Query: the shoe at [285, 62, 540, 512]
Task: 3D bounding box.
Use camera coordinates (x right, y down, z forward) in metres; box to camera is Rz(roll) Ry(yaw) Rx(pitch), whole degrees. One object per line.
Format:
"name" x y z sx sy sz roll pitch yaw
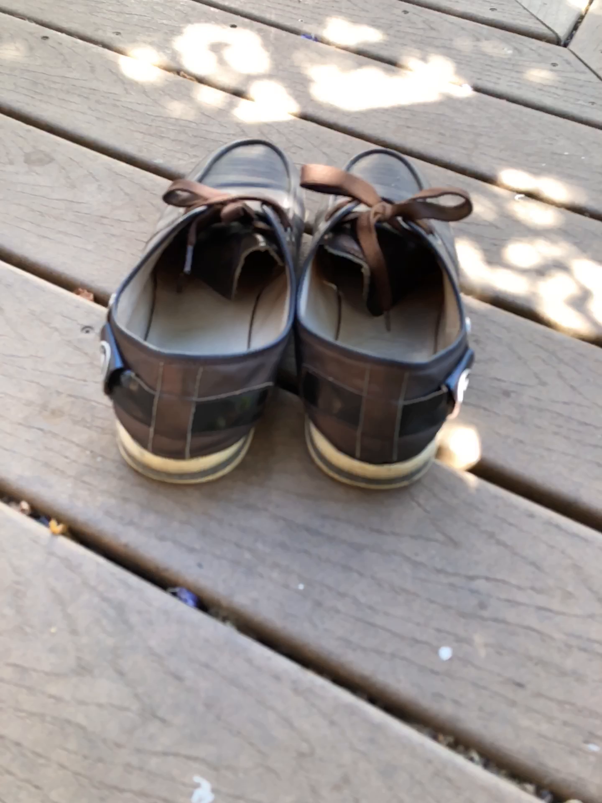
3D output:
"shoe" 0.060 -0.089 0.421 0.107 0.105 0.290 7 53 -1

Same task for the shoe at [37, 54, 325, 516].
"shoe" -0.054 -0.089 0.419 0.107 0.115 0.288 7 53 -1
